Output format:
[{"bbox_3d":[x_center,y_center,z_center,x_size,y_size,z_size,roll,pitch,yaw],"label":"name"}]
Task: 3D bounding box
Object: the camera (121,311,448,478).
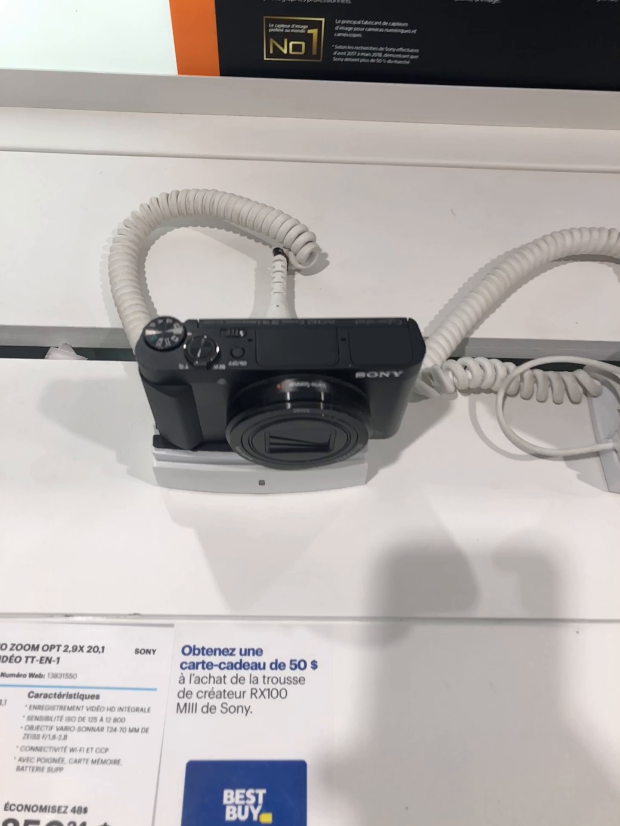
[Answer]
[{"bbox_3d":[-0.010,-0.005,0.269,0.110,0.070,0.030,-1,58,-4],"label":"camera"}]
